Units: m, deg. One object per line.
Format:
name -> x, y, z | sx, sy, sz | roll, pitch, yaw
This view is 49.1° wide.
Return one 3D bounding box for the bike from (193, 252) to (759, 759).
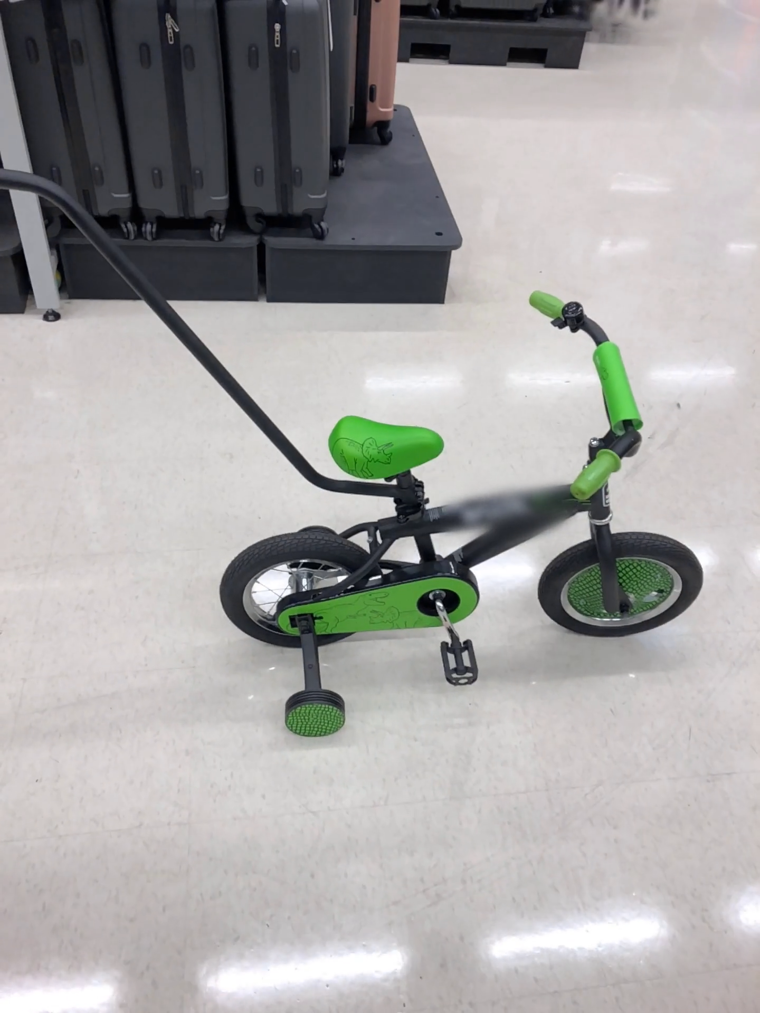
bike -> 0.168, 0.003, 1.366 | 0.846, 0.599, 0.494 | -2, 43, -3
